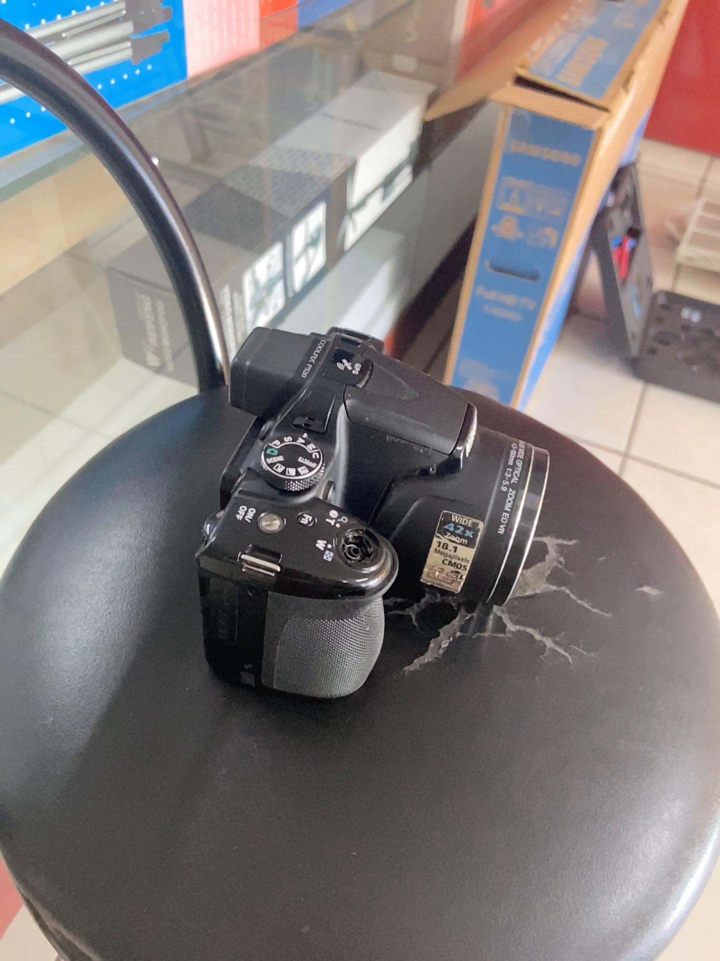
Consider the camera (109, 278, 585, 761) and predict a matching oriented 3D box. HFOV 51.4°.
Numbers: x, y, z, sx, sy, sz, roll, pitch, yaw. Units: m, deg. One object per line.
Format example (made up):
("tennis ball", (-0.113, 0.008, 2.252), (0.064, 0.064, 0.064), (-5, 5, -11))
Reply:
("camera", (0.005, 0.005, 0.263), (0.120, 0.070, 0.131), (14, 47, 8))
